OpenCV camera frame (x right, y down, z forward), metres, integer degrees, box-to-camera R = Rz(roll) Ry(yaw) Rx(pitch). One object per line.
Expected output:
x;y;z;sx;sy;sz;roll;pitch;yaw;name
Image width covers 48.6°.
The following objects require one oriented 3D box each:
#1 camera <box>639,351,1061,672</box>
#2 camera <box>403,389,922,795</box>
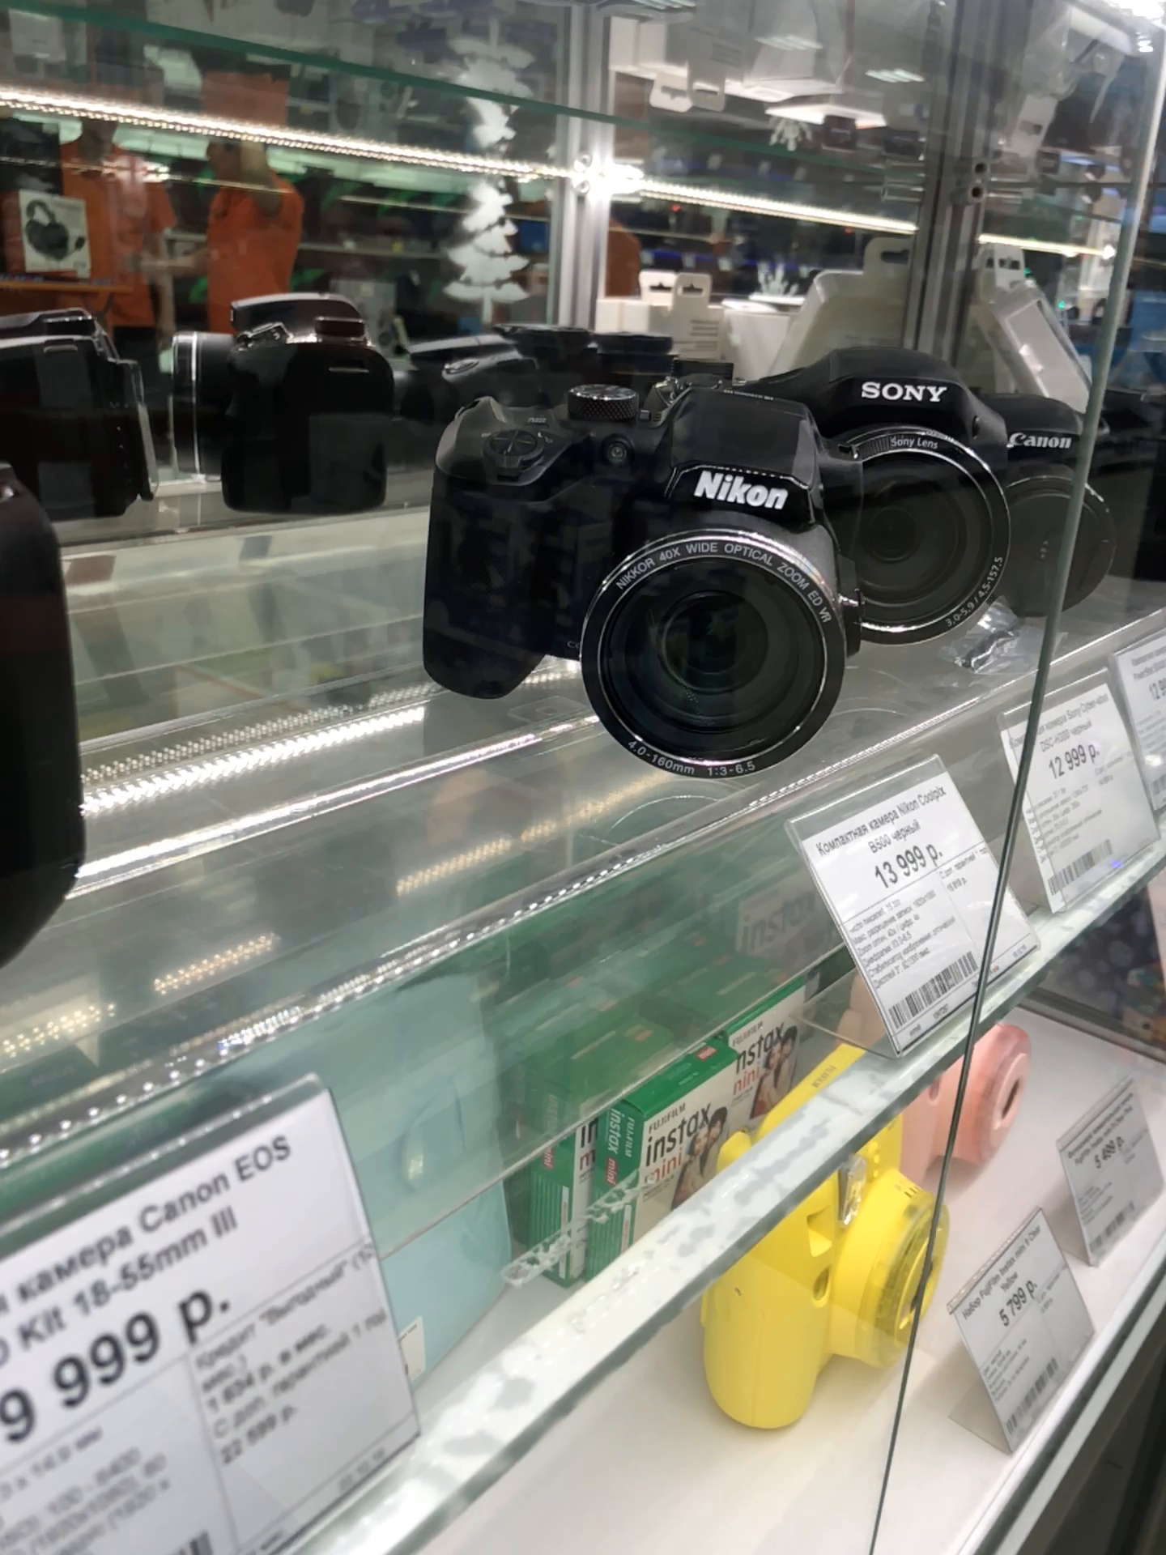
0.079;-0.093;0.431;0.114;0.084;0.099;2;22;0;camera
0.015;-0.053;0.336;0.110;0.080;0.099;4;19;-2;camera
